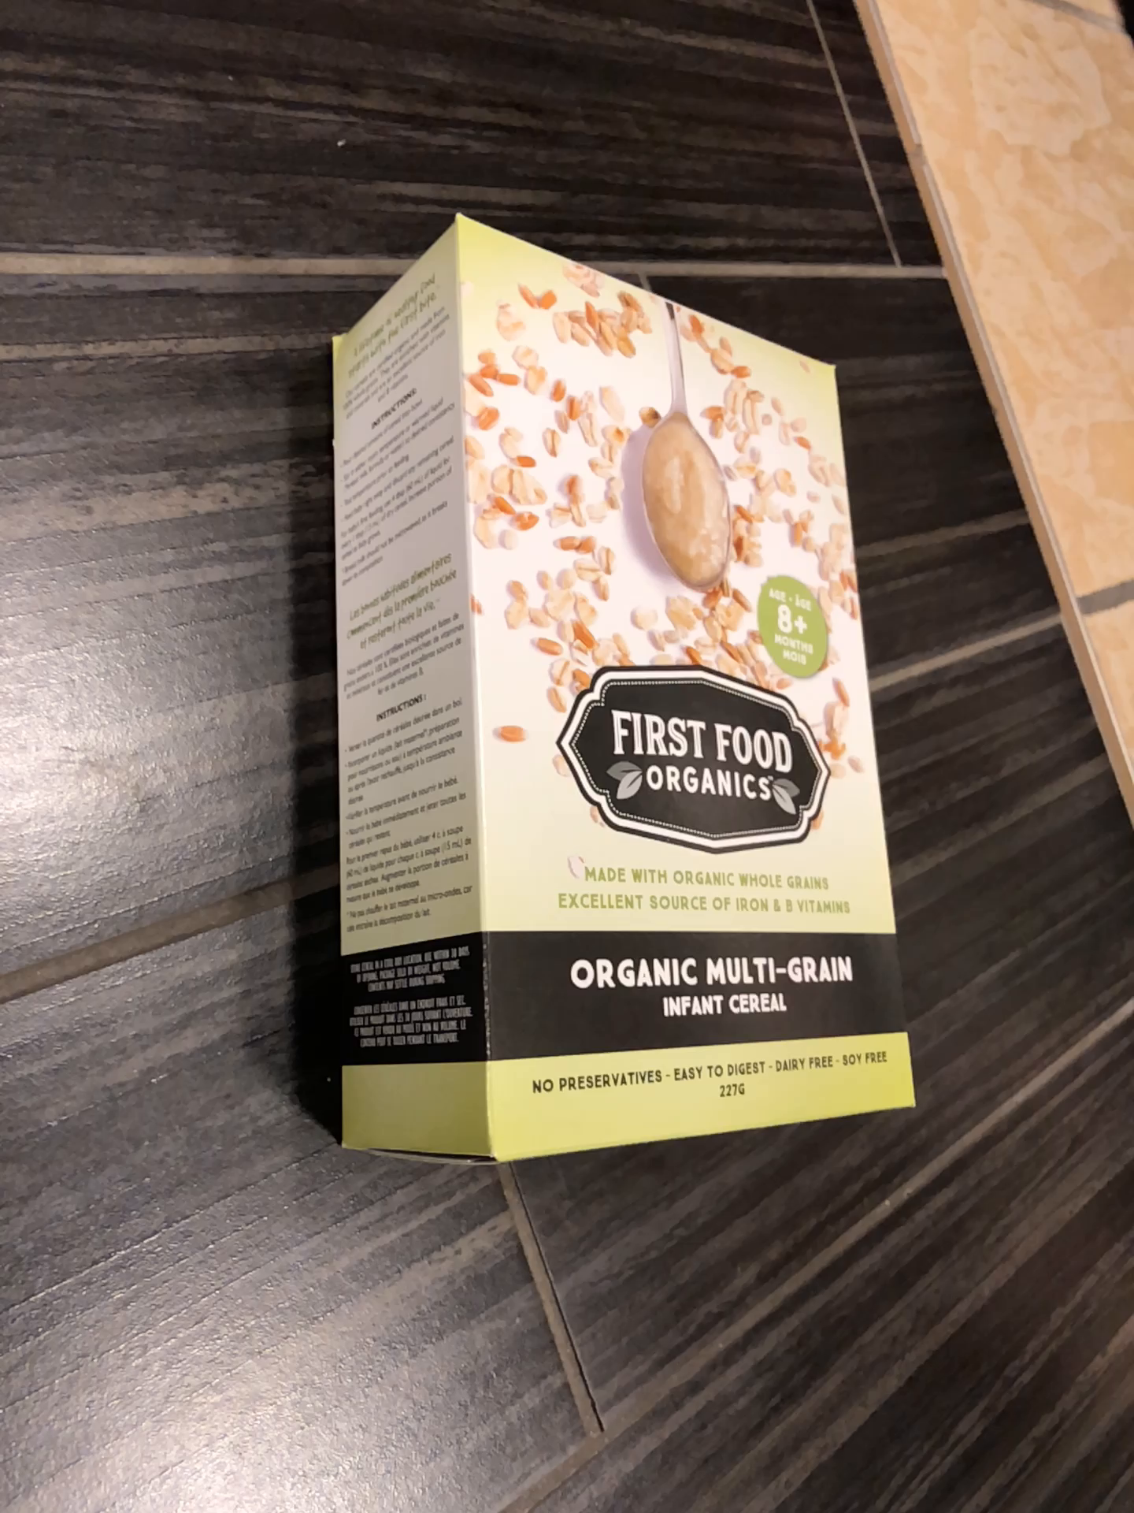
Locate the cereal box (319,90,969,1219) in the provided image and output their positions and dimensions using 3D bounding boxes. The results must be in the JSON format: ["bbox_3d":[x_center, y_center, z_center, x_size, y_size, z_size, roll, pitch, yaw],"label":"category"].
[{"bbox_3d":[0.017,-0.018,0.310,0.141,0.060,0.230,8,73,-36],"label":"cereal box"}]
